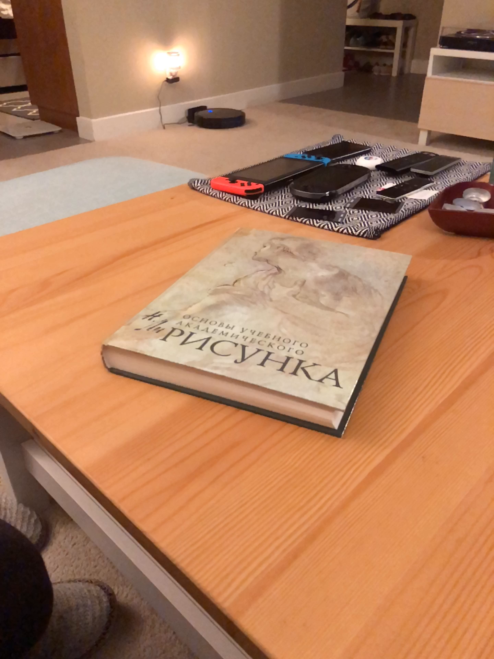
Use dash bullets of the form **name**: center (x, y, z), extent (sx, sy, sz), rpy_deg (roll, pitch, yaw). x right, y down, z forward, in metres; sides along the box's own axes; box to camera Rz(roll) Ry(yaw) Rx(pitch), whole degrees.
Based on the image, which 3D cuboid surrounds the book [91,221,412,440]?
- **book**: center (0.025, -0.026, 0.519), extent (0.214, 0.030, 0.273), rpy_deg (14, 35, 19)
